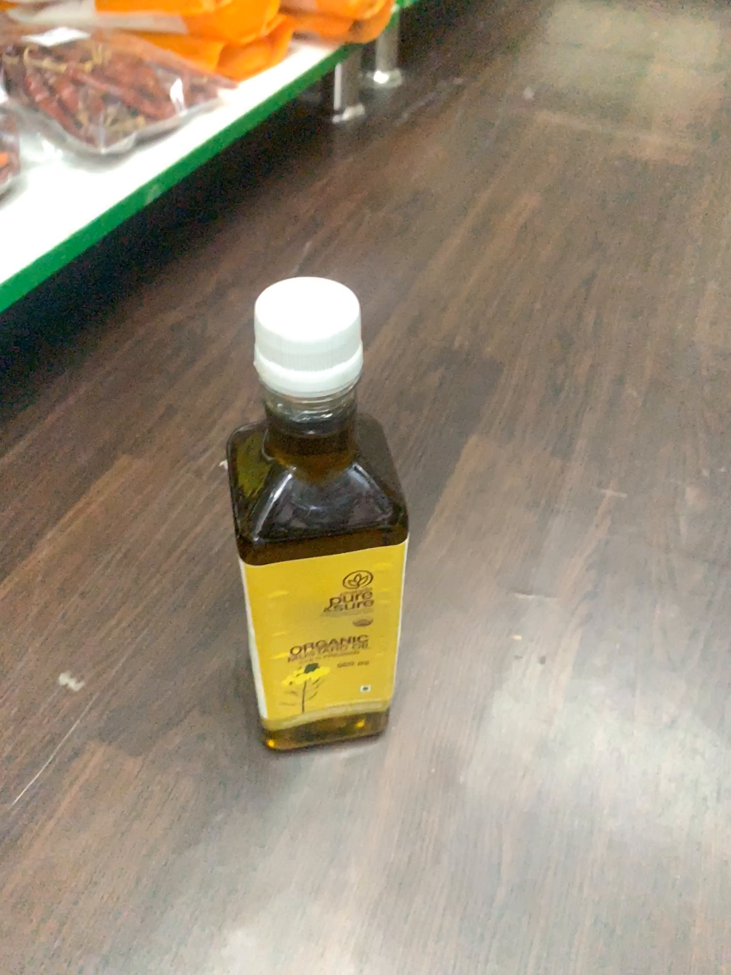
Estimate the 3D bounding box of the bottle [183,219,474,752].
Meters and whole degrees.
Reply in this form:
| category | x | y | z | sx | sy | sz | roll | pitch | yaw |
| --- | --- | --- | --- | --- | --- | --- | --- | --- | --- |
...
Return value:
| category | x | y | z | sx | sy | sz | roll | pitch | yaw |
| --- | --- | --- | --- | --- | --- | --- | --- | --- | --- |
| bottle | -0.016 | 0.016 | 0.282 | 0.070 | 0.209 | 0.060 | -7 | 46 | -10 |
